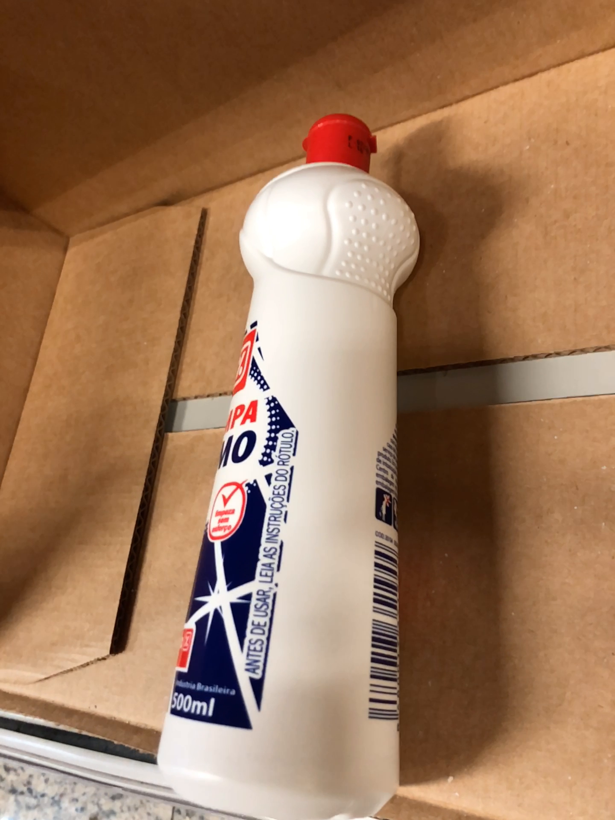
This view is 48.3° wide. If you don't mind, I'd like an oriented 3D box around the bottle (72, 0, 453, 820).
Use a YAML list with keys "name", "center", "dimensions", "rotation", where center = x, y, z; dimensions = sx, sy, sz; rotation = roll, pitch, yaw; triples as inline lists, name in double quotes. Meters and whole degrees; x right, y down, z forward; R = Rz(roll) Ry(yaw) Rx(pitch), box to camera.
- name: "bottle"
  center: [-0.003, -0.013, 0.232]
  dimensions: [0.080, 0.060, 0.260]
  rotation: [-8, 66, 33]
